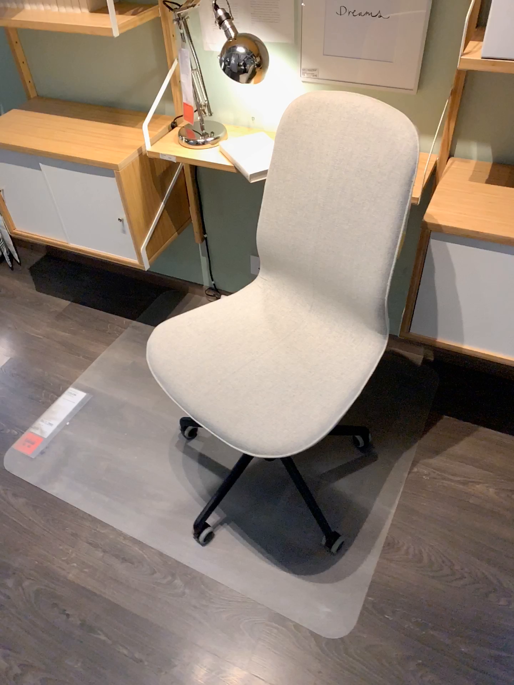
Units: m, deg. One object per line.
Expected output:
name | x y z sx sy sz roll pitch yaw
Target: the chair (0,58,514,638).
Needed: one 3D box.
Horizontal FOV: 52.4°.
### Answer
chair | 0.017 0.021 1.248 0.672 1.016 0.671 31 54 31
